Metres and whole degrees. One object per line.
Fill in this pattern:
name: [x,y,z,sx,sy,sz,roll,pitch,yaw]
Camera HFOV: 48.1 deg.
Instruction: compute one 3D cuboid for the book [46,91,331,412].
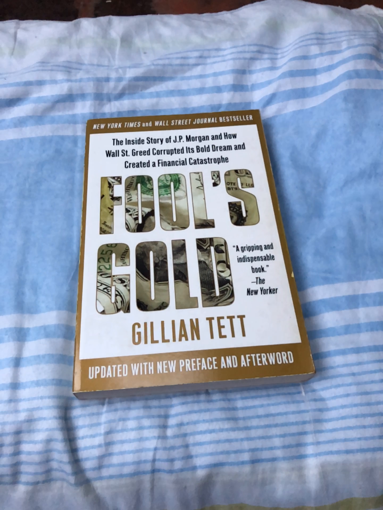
book: [-0.007,-0.018,0.301,0.150,0.040,0.230,-3,60,0]
